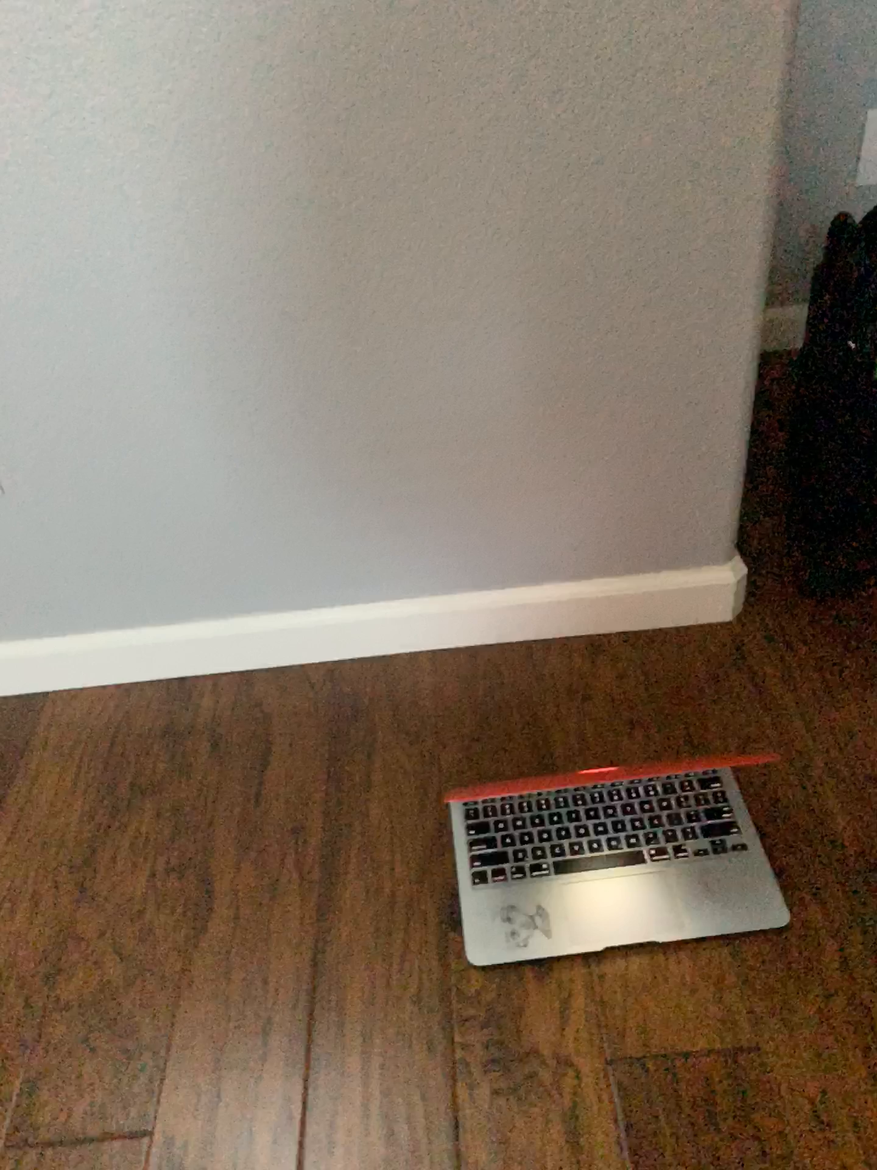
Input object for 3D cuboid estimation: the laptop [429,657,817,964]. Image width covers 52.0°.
[{"bbox_3d":[0.156,0.205,0.844,0.301,0.139,0.199,-7,38,-1],"label":"laptop"}]
